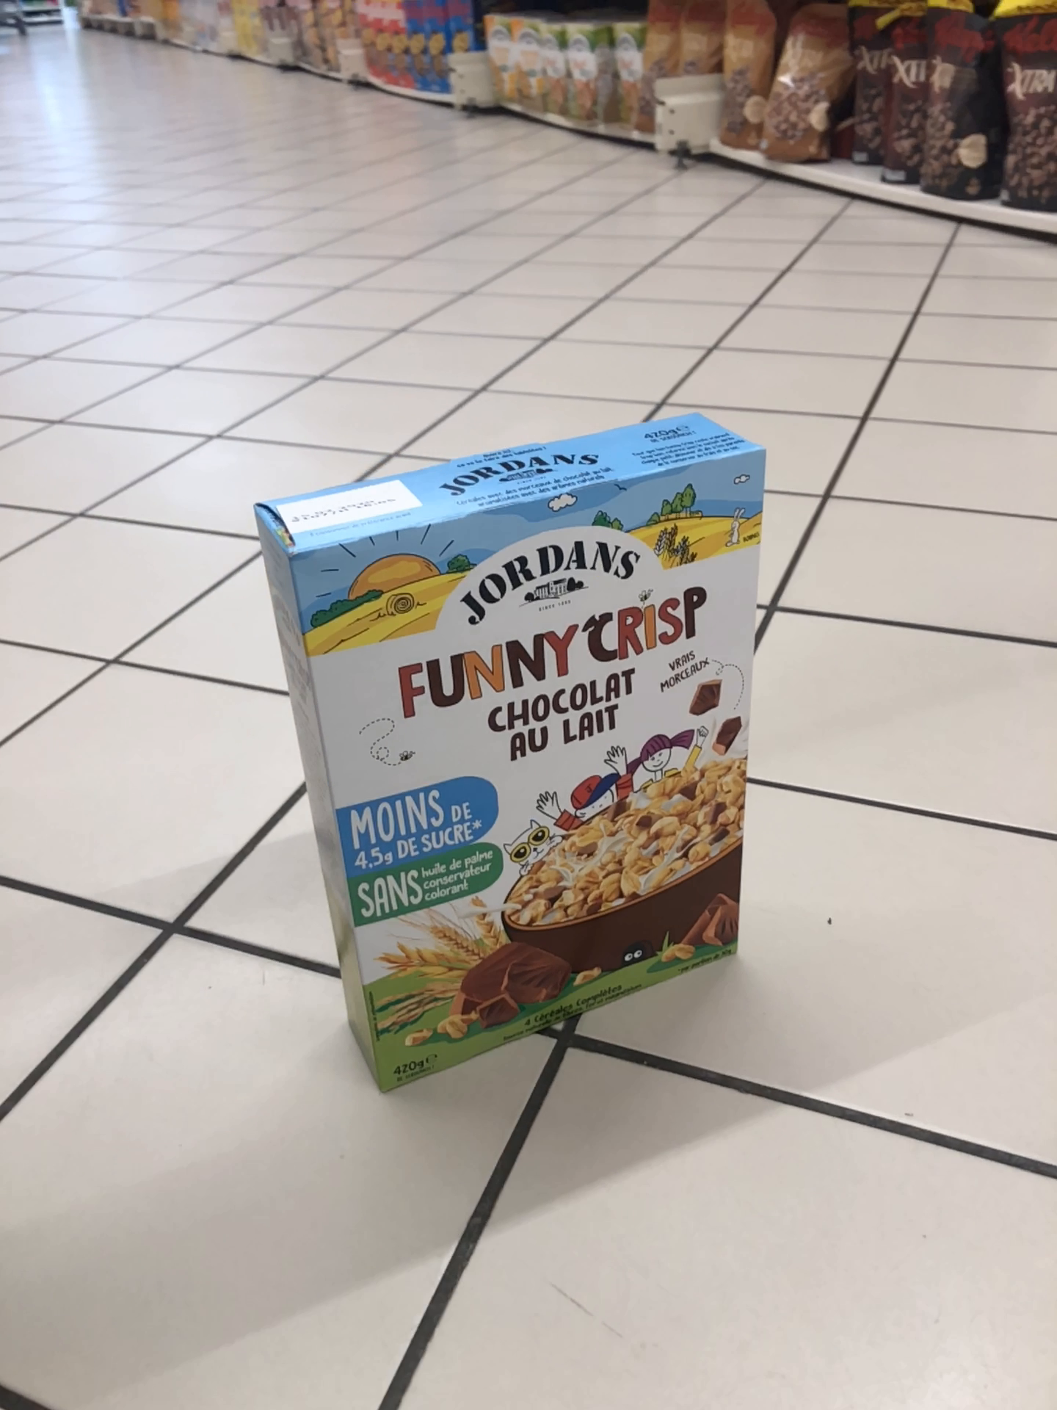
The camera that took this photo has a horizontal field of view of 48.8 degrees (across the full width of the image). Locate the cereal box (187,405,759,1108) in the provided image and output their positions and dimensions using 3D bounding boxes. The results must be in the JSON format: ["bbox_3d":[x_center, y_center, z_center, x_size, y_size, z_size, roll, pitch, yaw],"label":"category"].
[{"bbox_3d":[-0.011,0.021,0.444,0.180,0.229,0.060,-16,33,-19],"label":"cereal box"}]
